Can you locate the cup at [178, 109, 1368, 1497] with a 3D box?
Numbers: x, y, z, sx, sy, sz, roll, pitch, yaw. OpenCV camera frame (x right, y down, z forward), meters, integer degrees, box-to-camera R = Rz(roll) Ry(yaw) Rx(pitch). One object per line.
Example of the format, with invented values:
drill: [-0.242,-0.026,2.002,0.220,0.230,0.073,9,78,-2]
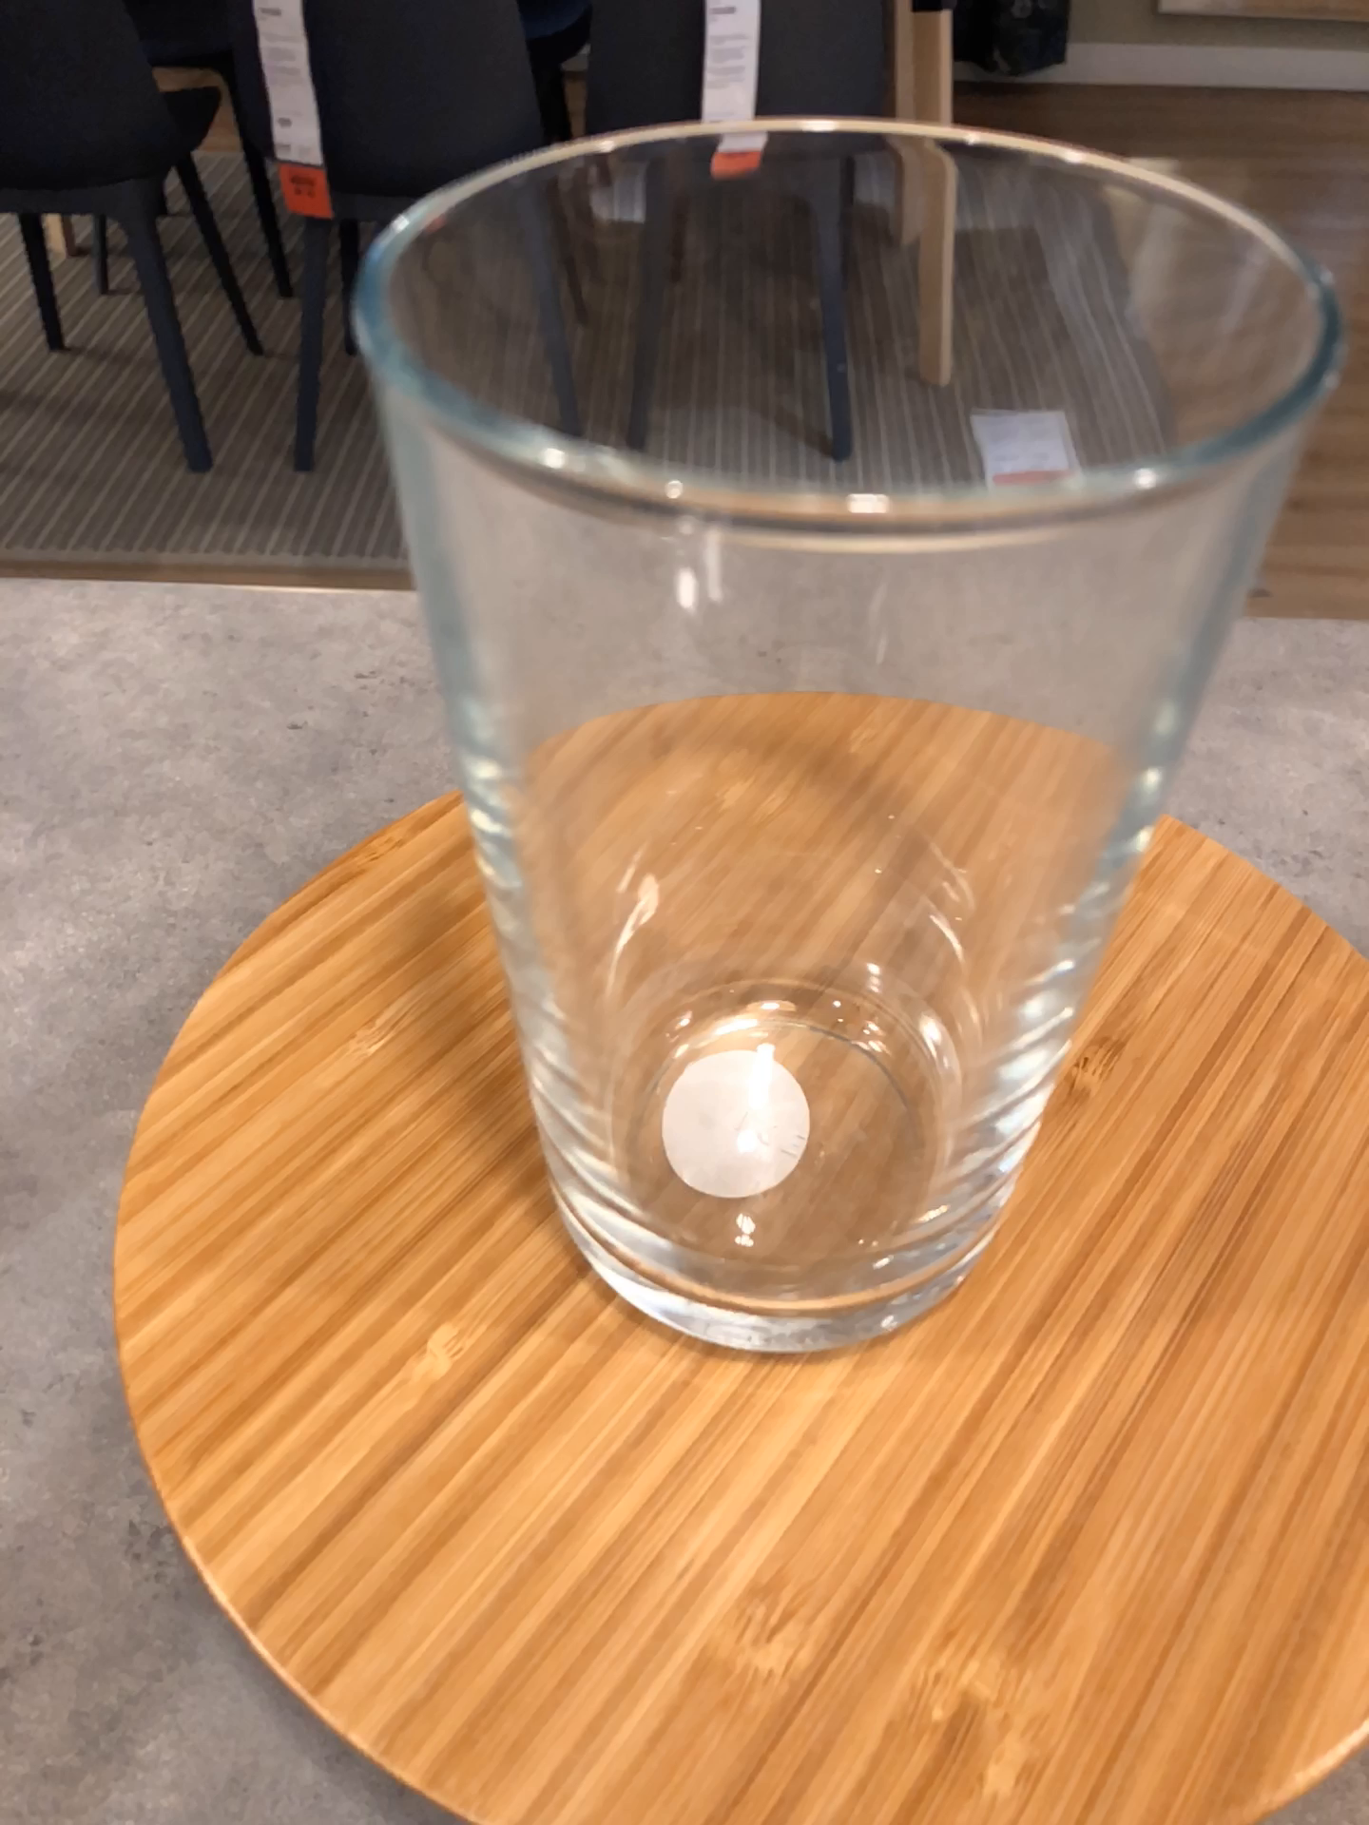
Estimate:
cup: [0.007,-0.012,0.195,0.100,0.139,0.100,1,42,-1]
